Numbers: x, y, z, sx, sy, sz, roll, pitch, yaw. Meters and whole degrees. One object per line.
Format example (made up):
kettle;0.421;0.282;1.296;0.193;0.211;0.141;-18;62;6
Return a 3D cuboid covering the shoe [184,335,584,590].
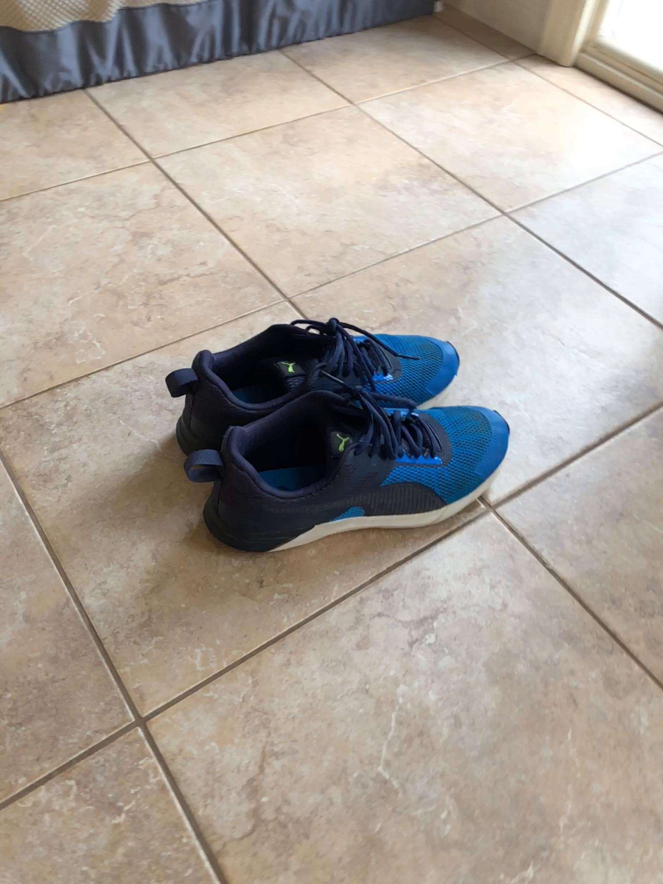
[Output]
shoe;0.039;0.011;0.602;0.290;0.100;0.110;-13;52;-15

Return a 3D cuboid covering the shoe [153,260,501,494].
shoe;-0.004;-0.065;0.668;0.280;0.100;0.110;-17;53;-18
